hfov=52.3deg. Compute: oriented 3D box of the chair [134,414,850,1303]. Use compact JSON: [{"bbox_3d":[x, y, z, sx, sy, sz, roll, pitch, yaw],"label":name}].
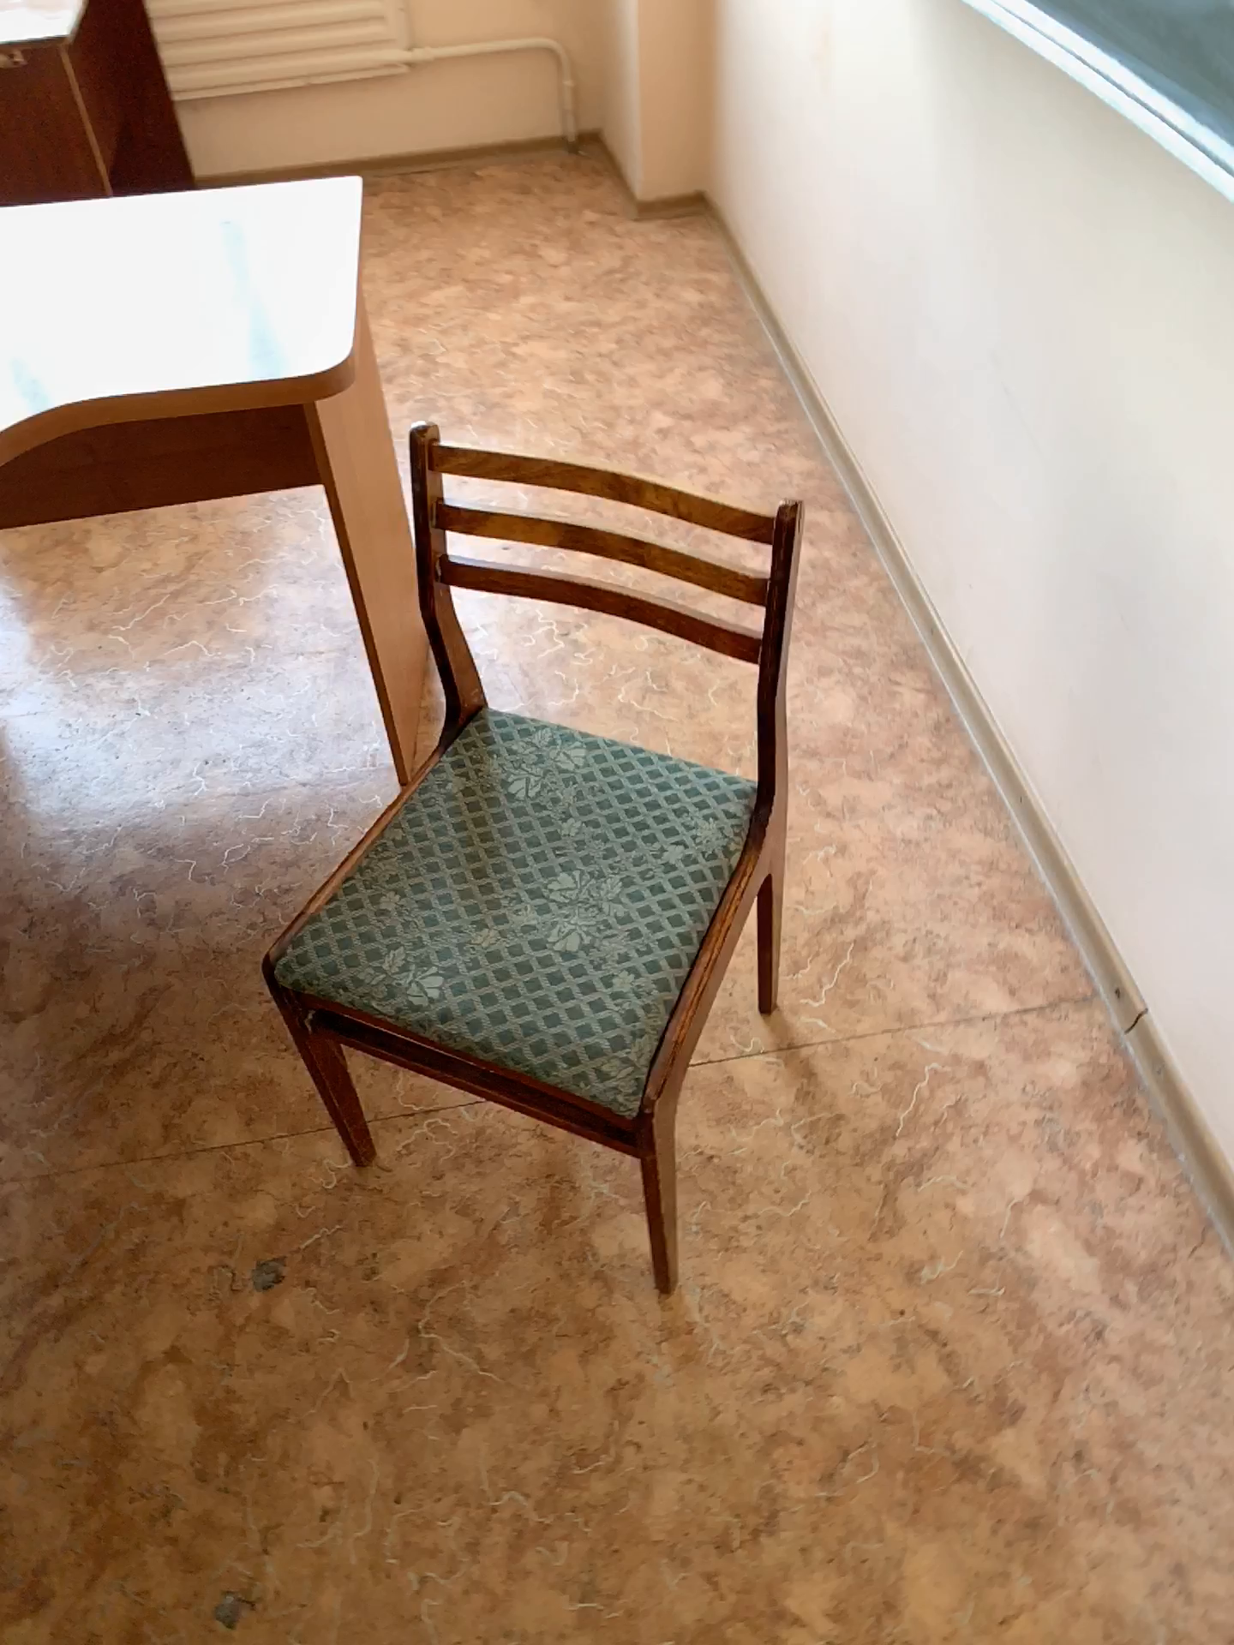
[{"bbox_3d":[-0.061,0.063,1.207,0.401,0.704,0.404,16,51,17],"label":"chair"}]
